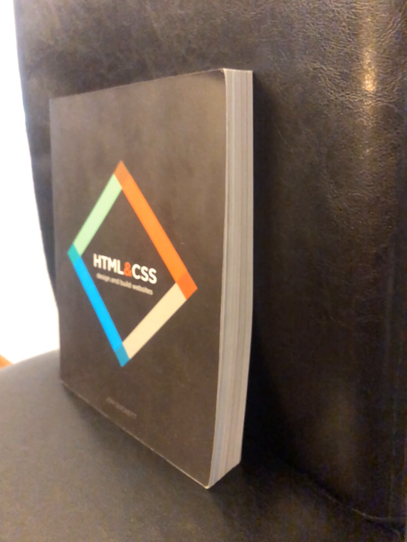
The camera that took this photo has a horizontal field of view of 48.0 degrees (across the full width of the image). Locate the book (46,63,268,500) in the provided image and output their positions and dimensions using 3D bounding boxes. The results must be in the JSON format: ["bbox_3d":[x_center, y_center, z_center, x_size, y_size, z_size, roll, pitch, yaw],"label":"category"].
[{"bbox_3d":[-0.046,-0.002,0.312,0.030,0.231,0.189,-9,16,-43],"label":"book"}]
